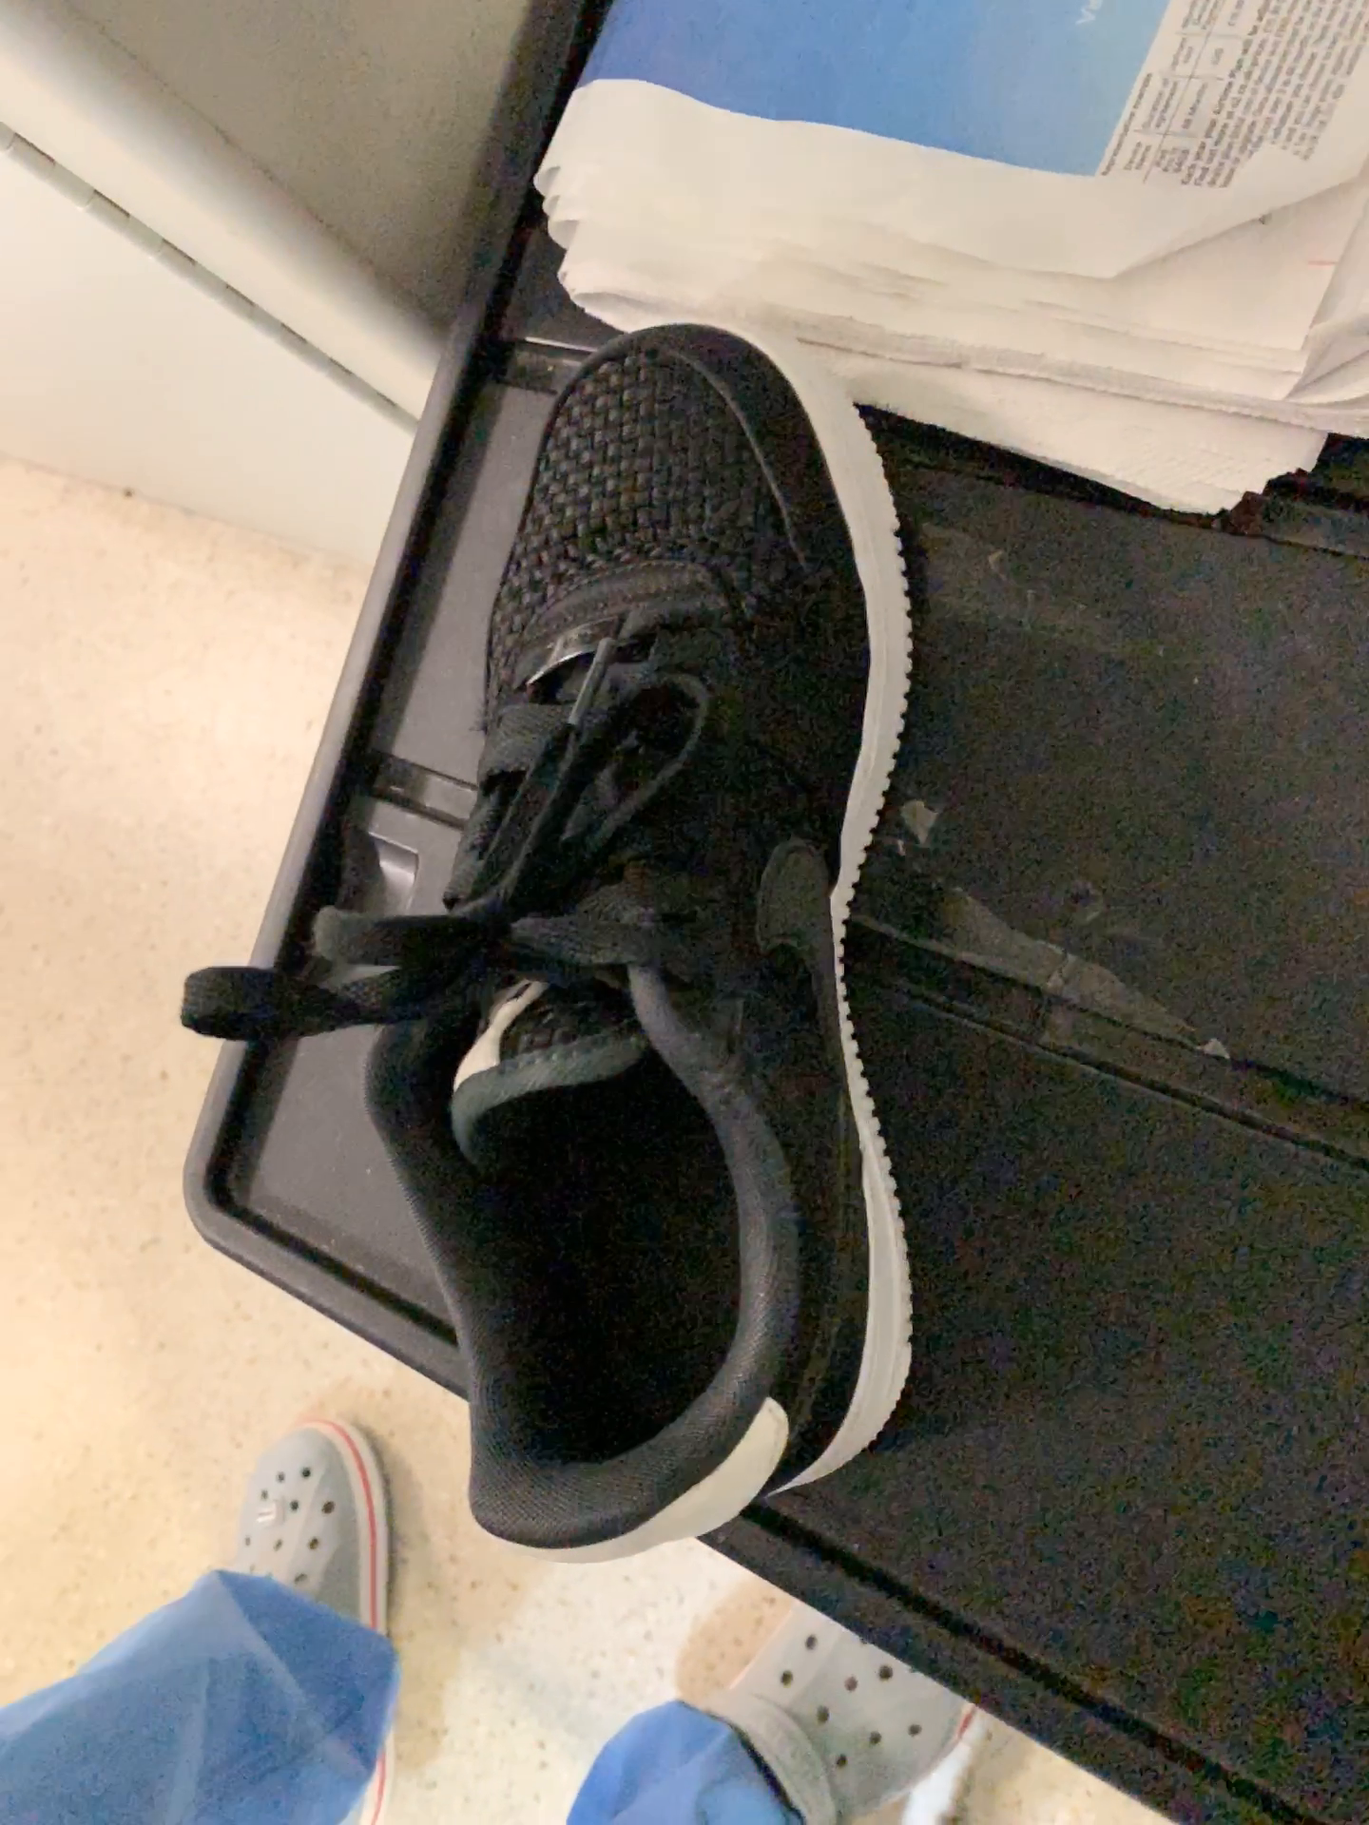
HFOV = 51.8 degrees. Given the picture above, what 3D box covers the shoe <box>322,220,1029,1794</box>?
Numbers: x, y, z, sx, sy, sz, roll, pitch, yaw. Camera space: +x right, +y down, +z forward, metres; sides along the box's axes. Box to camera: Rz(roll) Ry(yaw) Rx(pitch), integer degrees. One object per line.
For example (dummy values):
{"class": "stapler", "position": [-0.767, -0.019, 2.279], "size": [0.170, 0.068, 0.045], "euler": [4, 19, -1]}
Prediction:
{"class": "shoe", "position": [0.001, 0.014, 0.261], "size": [0.089, 0.094, 0.225], "euler": [-6, 82, 22]}
